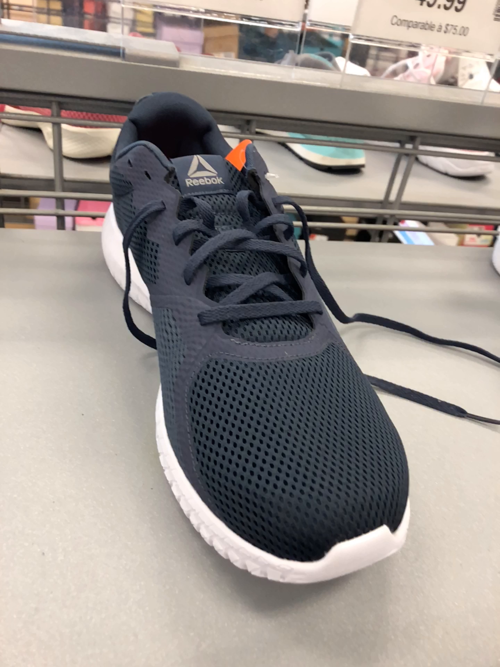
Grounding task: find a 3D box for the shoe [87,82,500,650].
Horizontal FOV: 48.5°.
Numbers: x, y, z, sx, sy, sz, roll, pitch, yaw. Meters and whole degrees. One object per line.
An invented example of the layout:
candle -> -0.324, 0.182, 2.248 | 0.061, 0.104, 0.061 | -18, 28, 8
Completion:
shoe -> -0.004, -0.034, 0.301 | 0.120, 0.109, 0.322 | -5, 37, -22
